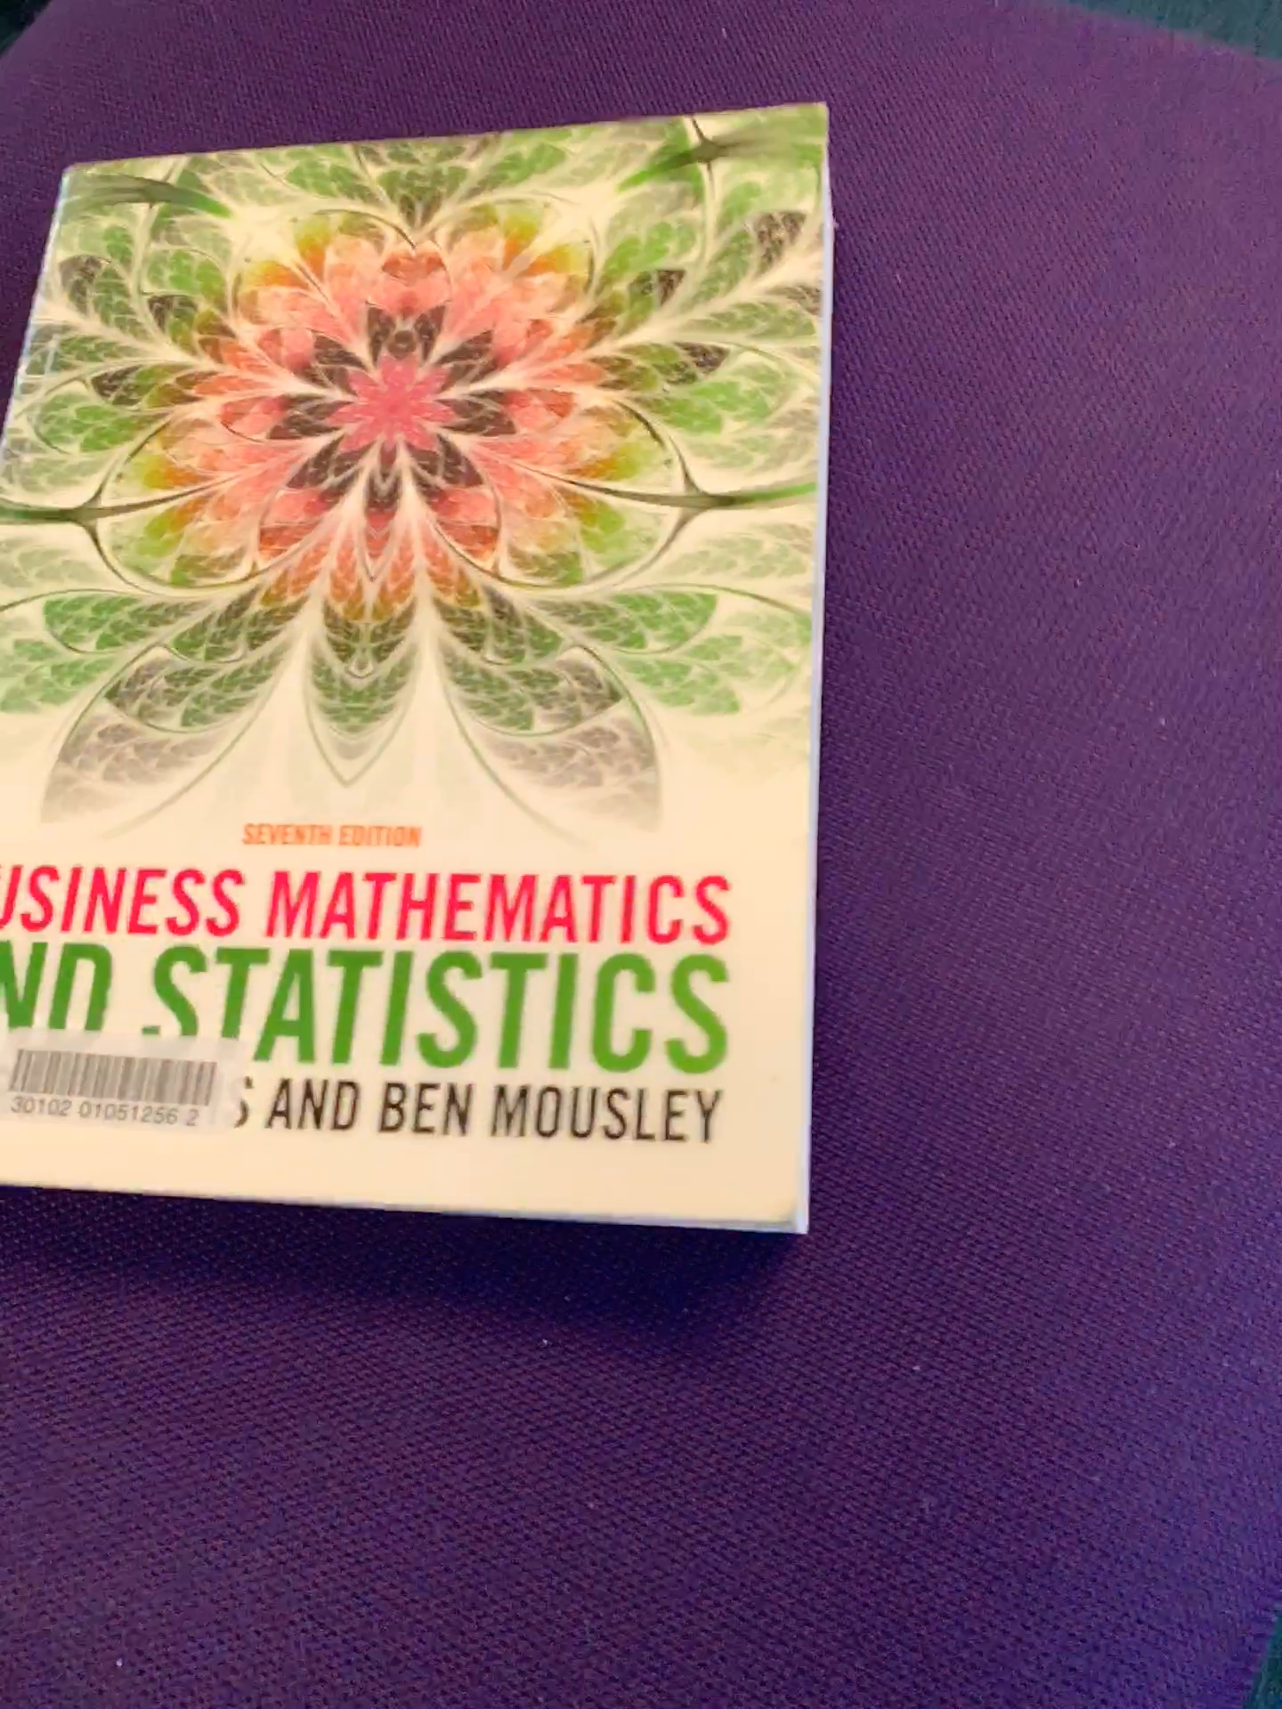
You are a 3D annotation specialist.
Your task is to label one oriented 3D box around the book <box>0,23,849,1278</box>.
[{"bbox_3d":[-0.059,-0.053,0.283,0.200,0.050,0.261,1,70,9],"label":"book"}]
